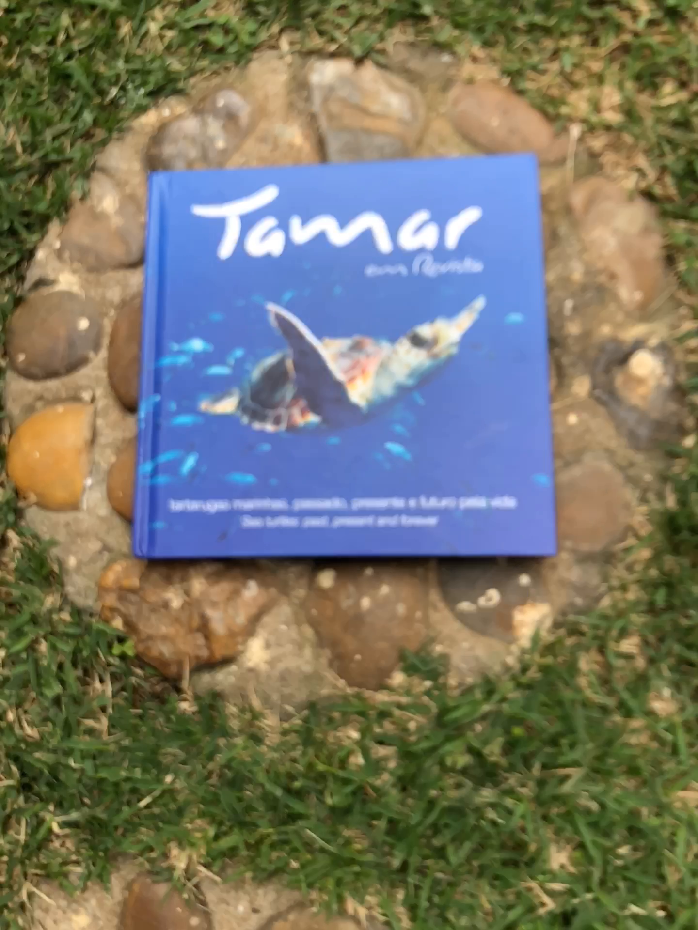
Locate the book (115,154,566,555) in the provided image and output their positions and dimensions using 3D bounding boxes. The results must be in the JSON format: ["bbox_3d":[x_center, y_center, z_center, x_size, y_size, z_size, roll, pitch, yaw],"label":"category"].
[{"bbox_3d":[-0.004,-0.047,0.335,0.179,0.020,0.167,0,80,6],"label":"book"}]
